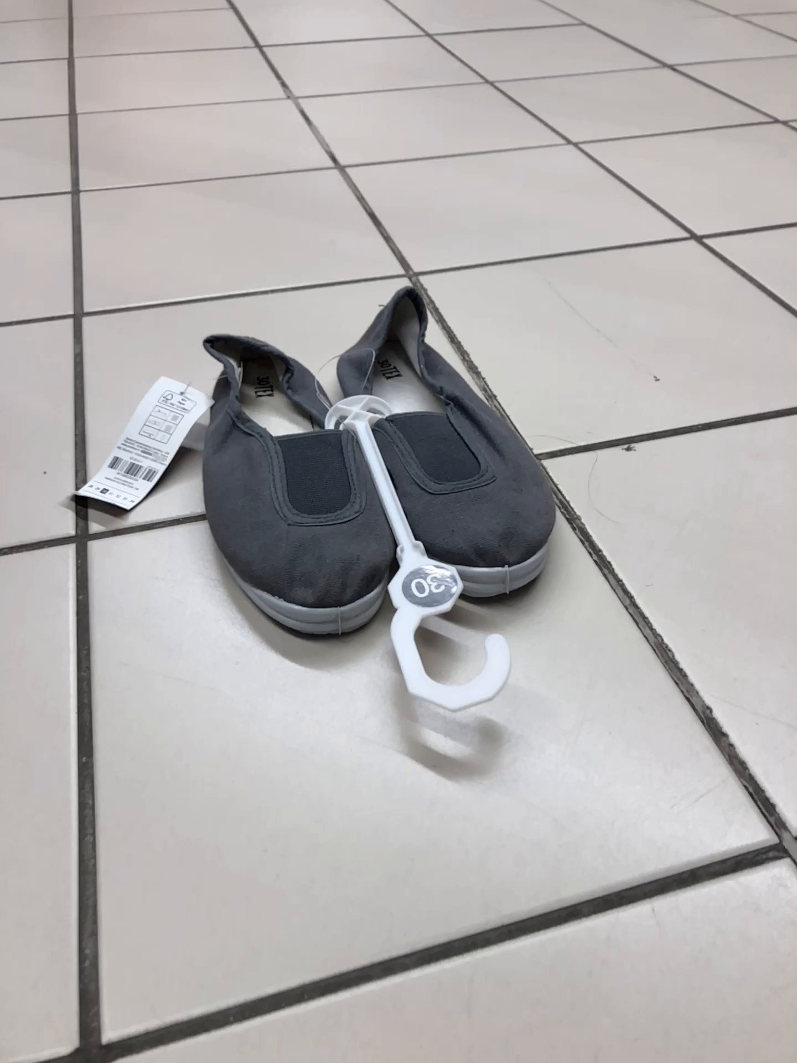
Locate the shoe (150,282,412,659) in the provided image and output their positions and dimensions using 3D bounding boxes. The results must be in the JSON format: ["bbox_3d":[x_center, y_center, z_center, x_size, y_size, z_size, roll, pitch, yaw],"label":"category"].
[{"bbox_3d":[-0.056,-0.038,0.365,0.077,0.046,0.186,-9,42,-11],"label":"shoe"}]

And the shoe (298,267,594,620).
[{"bbox_3d":[0.009,-0.050,0.379,0.070,0.046,0.186,-10,42,-11],"label":"shoe"}]
